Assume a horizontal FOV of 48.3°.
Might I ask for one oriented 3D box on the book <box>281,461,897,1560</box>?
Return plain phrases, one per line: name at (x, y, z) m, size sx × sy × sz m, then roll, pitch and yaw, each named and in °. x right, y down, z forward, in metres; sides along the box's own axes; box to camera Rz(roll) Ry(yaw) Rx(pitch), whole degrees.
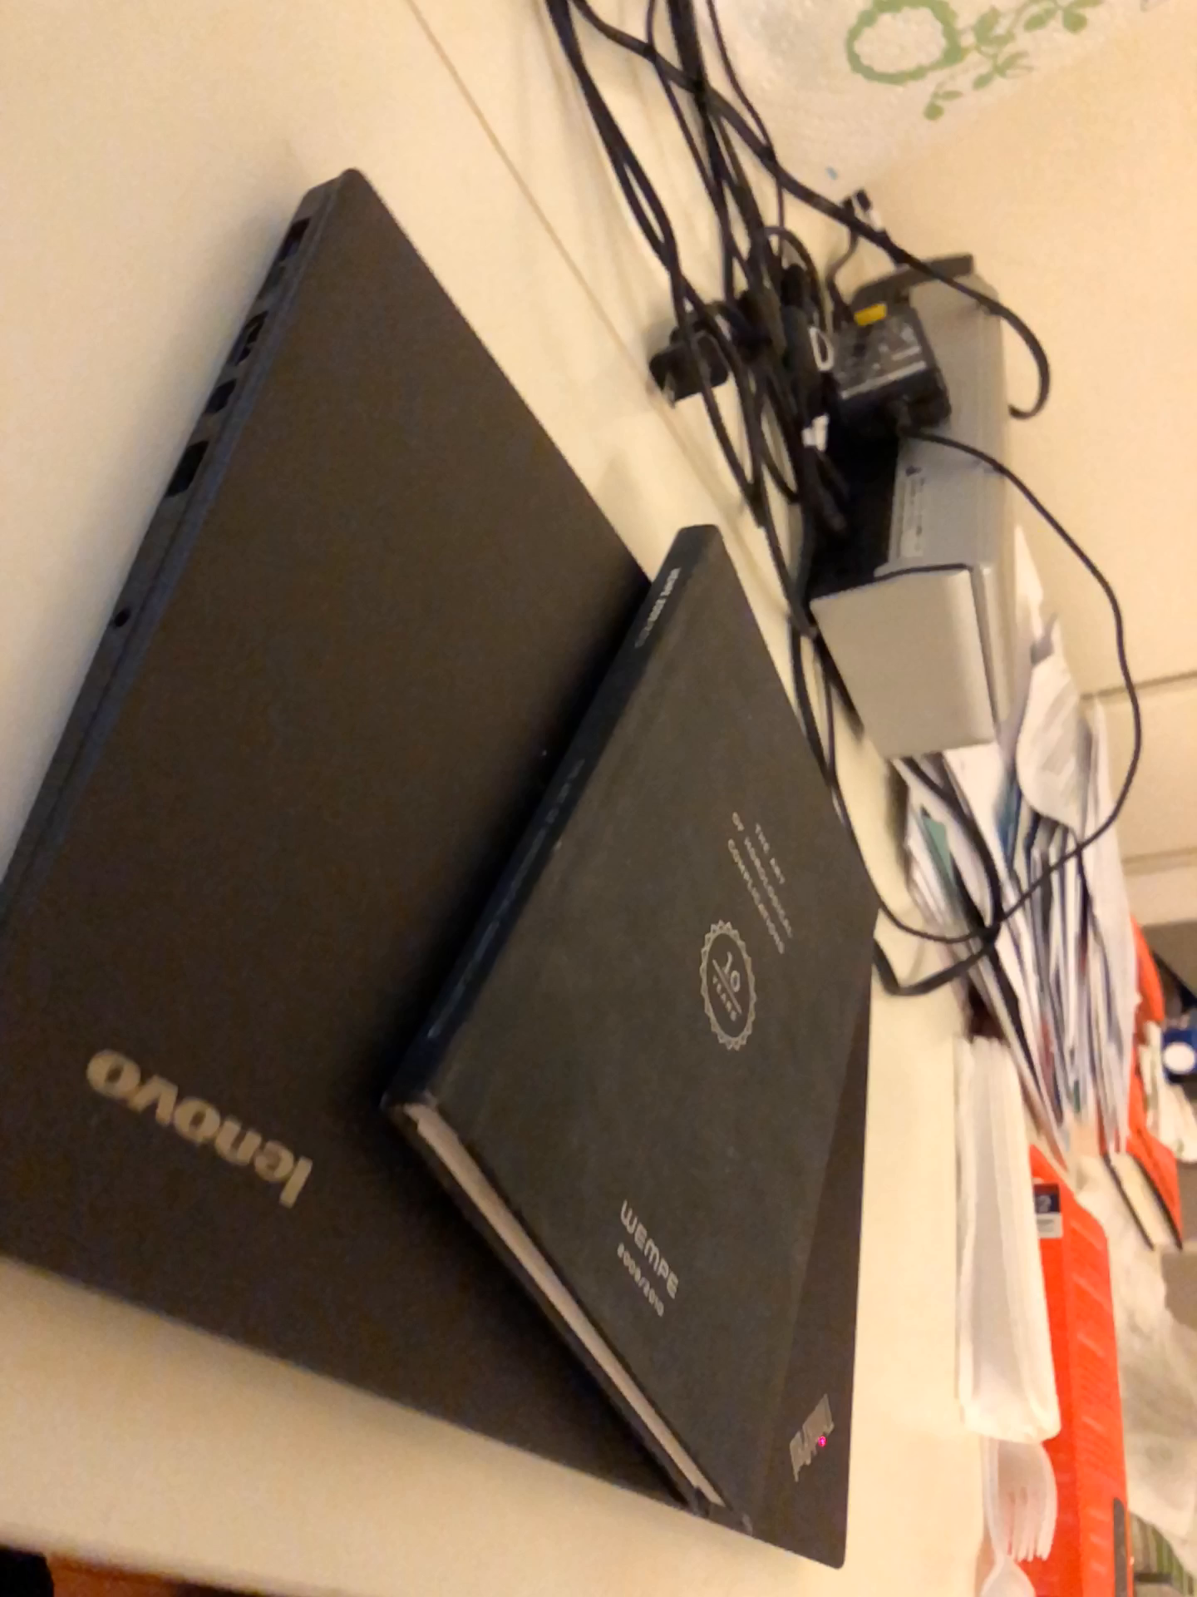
book at (0.024, 0.041, 0.346) m, size 0.170 × 0.030 × 0.221 m, roll 61°, pitch 33°, yaw -30°
